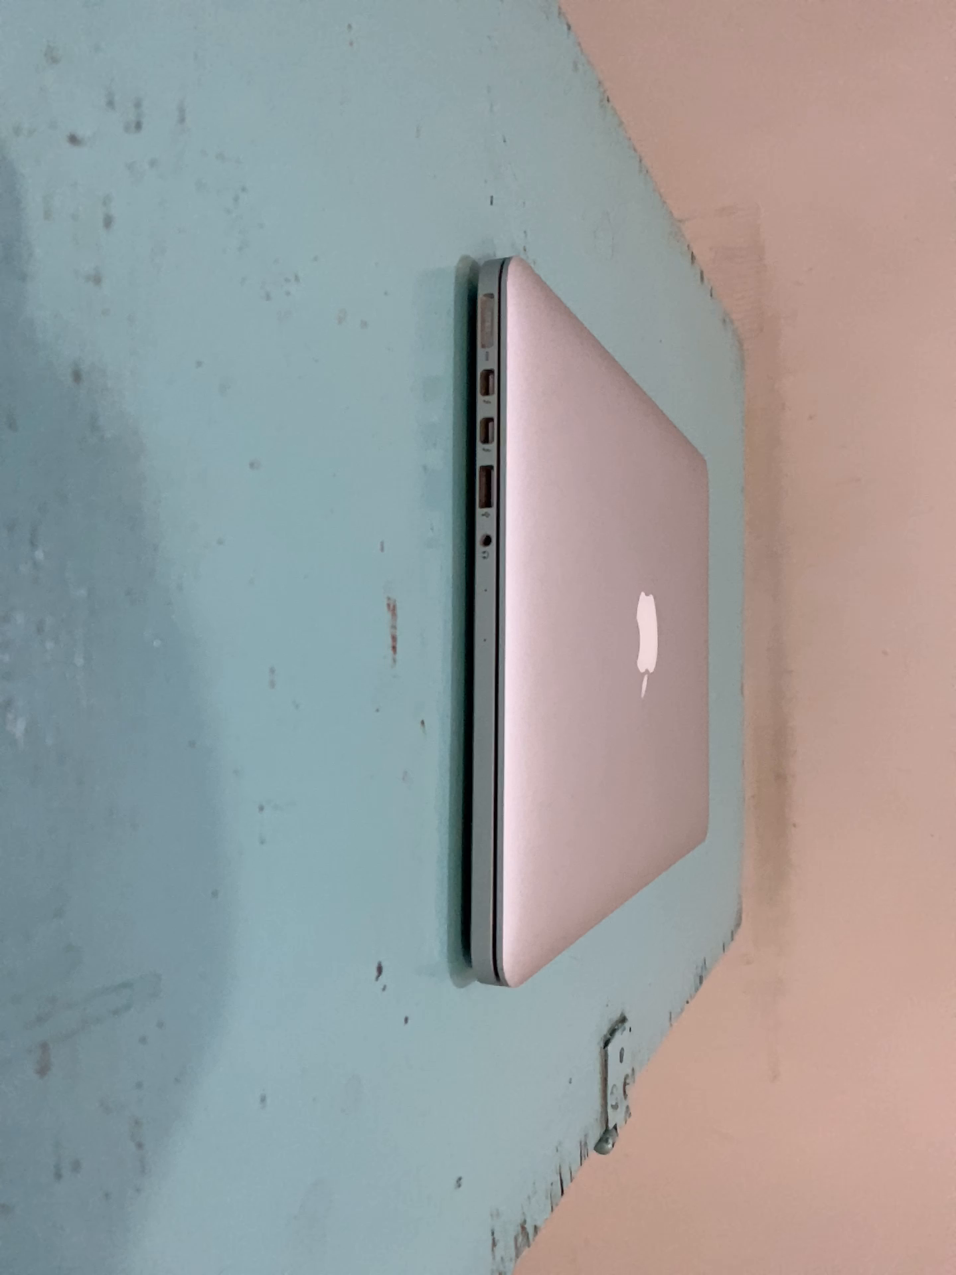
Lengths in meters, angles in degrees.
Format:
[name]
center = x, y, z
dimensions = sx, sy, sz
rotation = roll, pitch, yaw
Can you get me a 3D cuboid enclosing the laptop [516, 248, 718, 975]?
[laptop]
center = 0.073, -0.009, 0.417
dimensions = 0.293, 0.007, 0.209
rotation = 2, 86, -68
